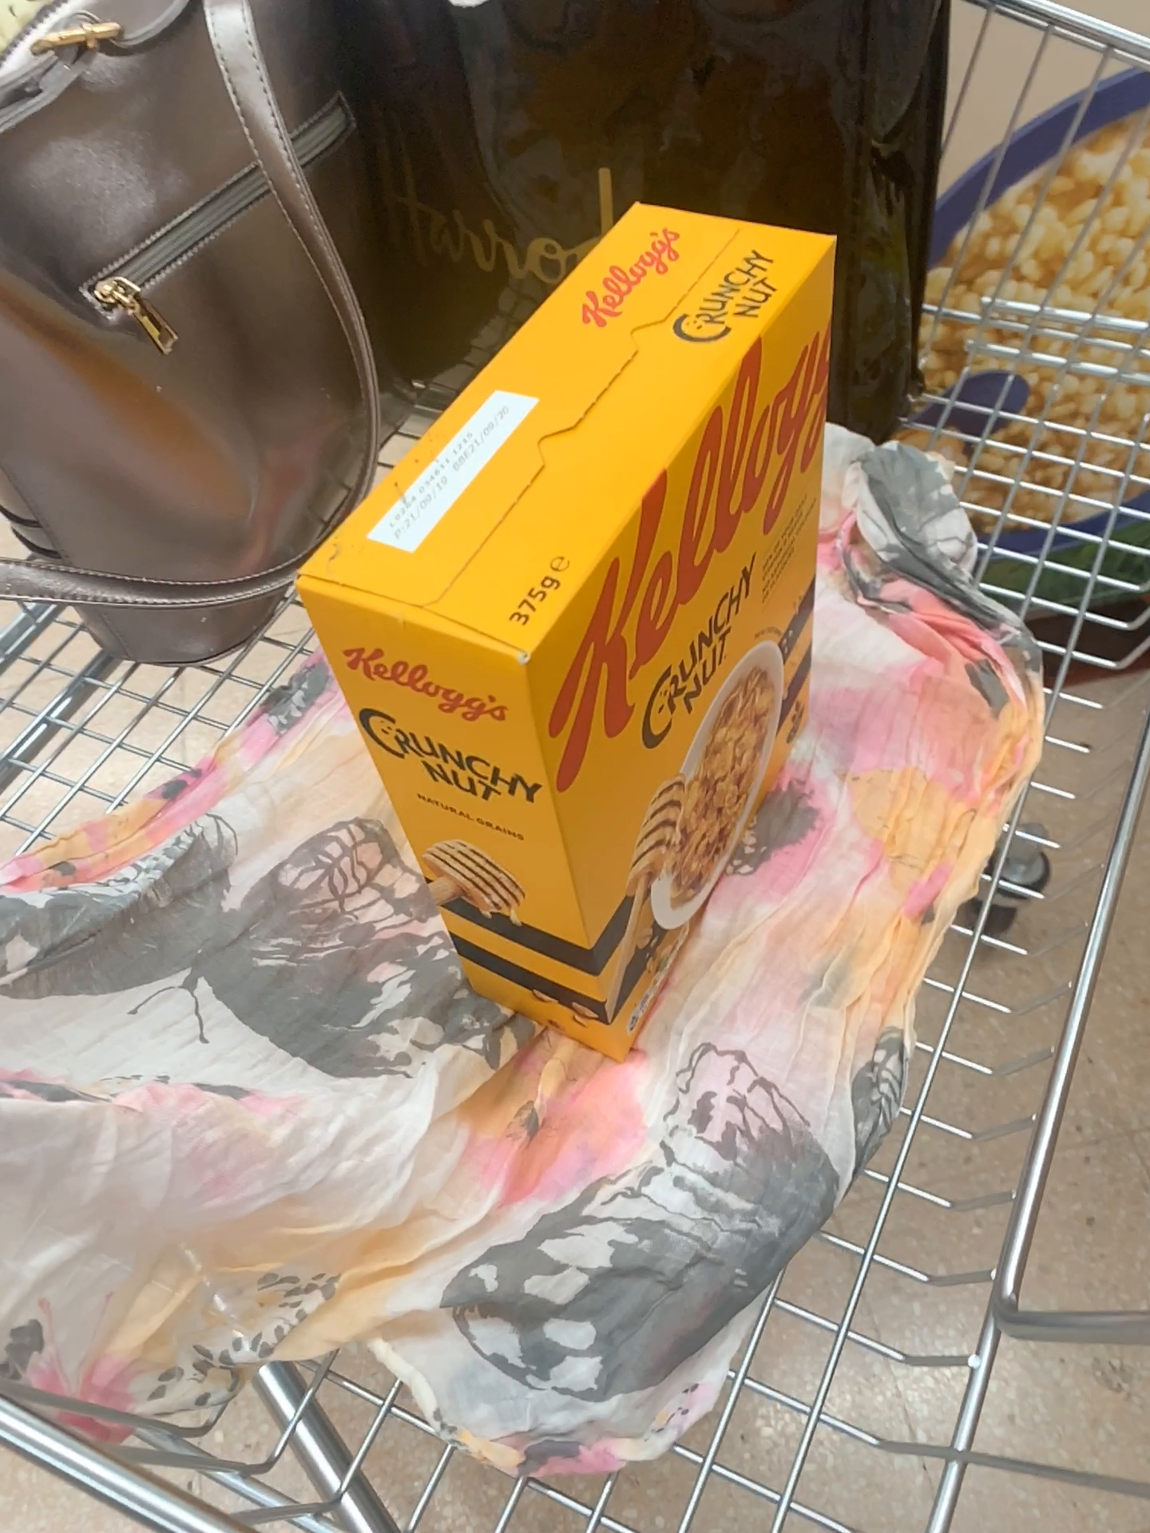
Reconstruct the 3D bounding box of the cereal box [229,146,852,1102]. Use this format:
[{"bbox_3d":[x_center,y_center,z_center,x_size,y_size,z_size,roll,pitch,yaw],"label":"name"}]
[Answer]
[{"bbox_3d":[0.013,-0.037,0.423,0.080,0.258,0.211,20,58,20],"label":"cereal box"}]
